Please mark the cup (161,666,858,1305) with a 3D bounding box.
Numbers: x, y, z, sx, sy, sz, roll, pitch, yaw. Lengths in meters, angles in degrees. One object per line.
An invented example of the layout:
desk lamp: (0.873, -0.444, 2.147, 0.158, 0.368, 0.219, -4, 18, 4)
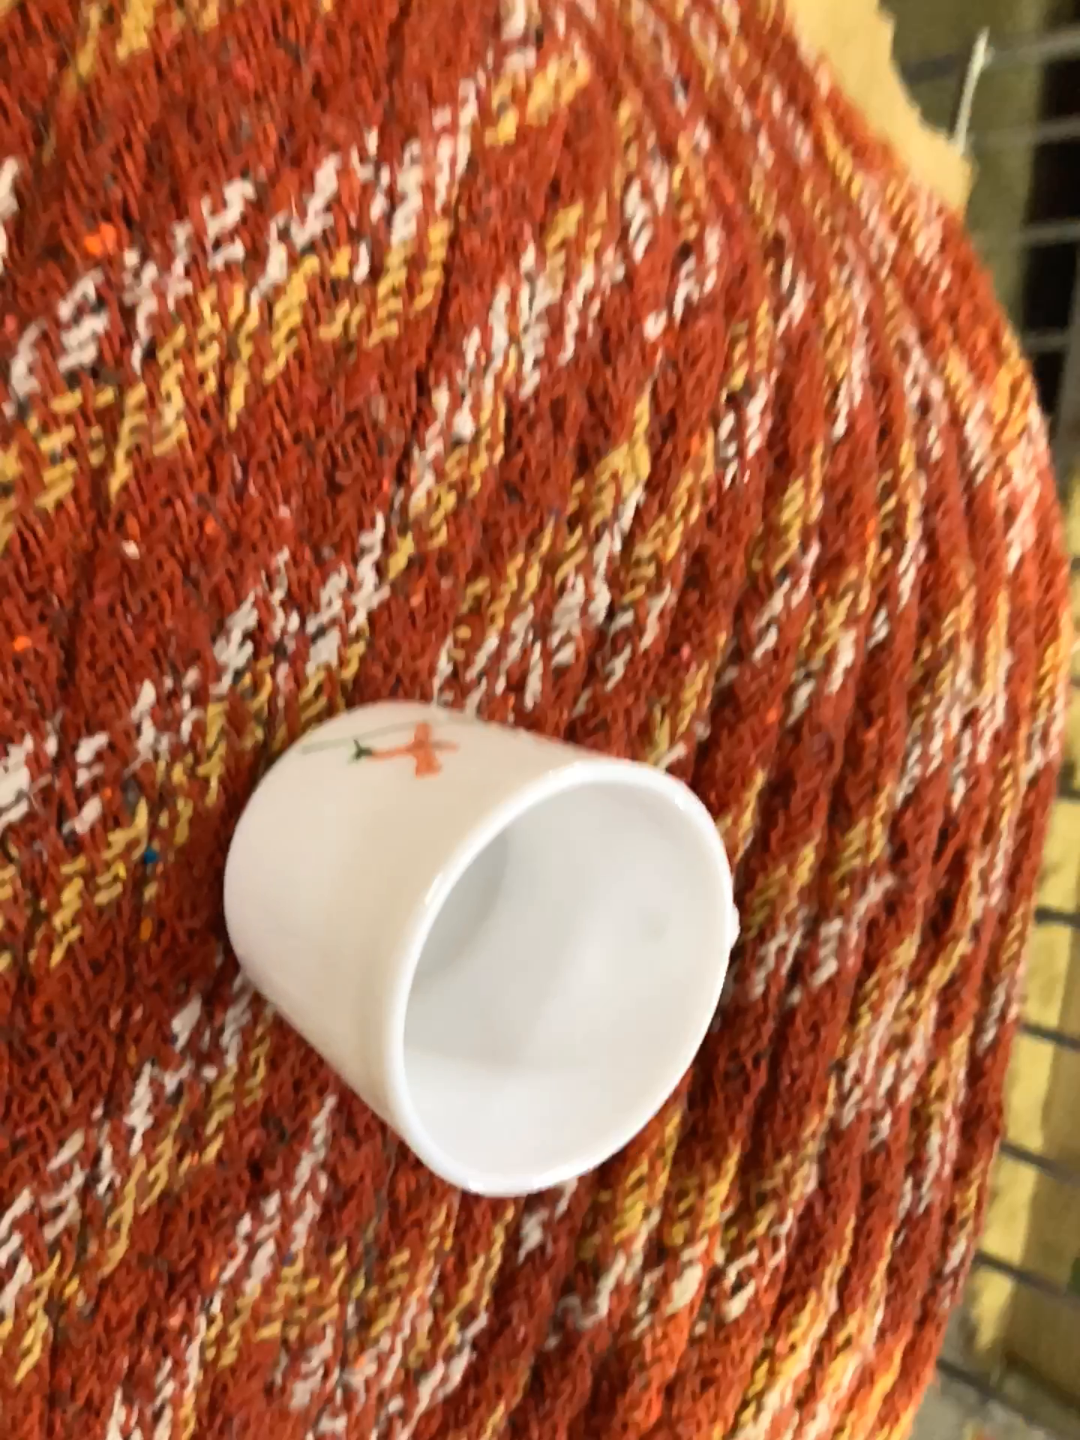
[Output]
cup: (-0.005, 0.034, 0.192, 0.080, 0.060, 0.070, 6, 96, -39)
